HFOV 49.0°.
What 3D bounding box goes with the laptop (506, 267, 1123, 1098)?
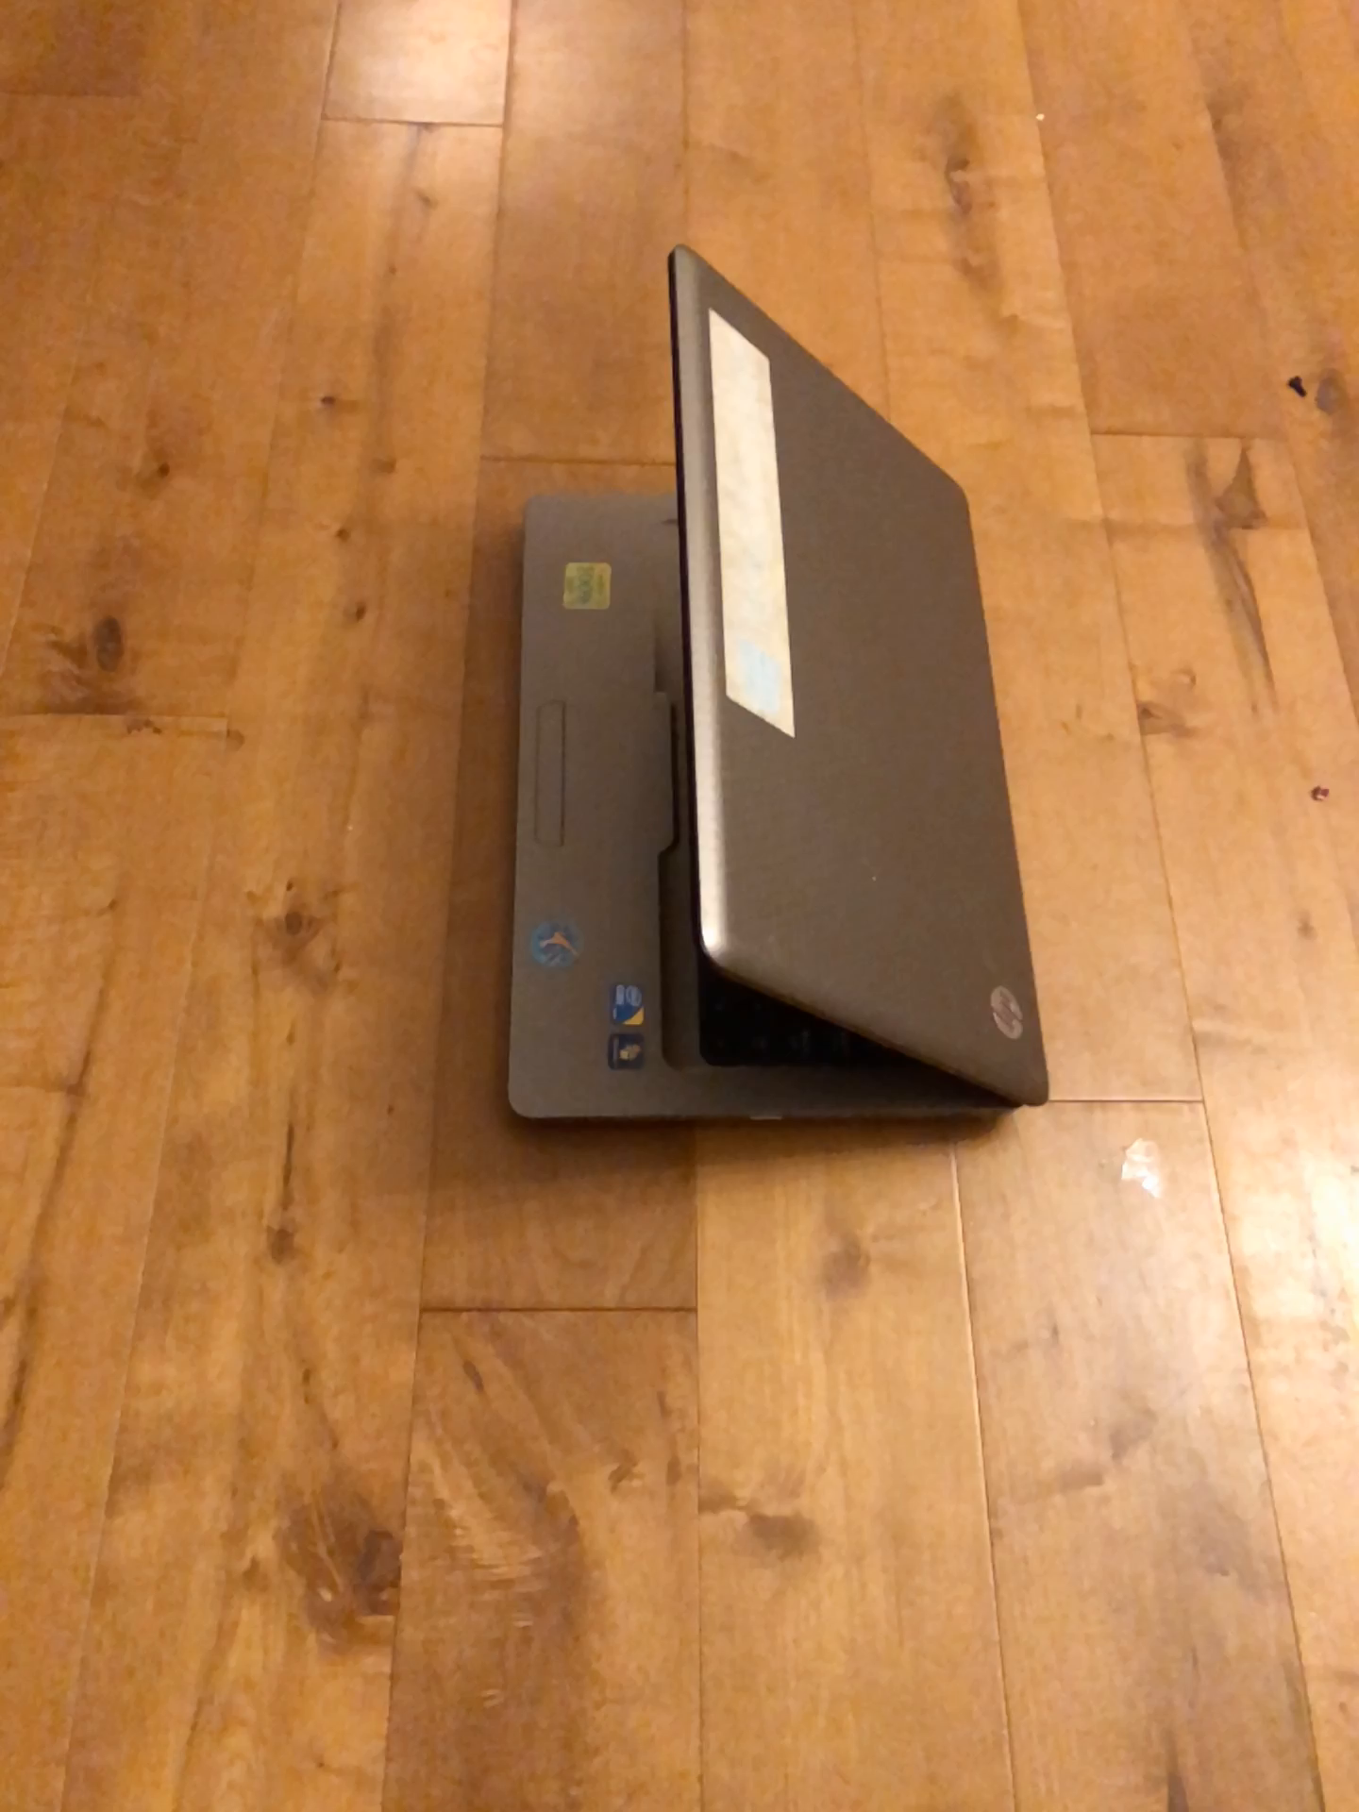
[{"bbox_3d":[0.039,-0.104,0.687,0.222,0.164,0.347,-1,63,-2],"label":"laptop"}]
